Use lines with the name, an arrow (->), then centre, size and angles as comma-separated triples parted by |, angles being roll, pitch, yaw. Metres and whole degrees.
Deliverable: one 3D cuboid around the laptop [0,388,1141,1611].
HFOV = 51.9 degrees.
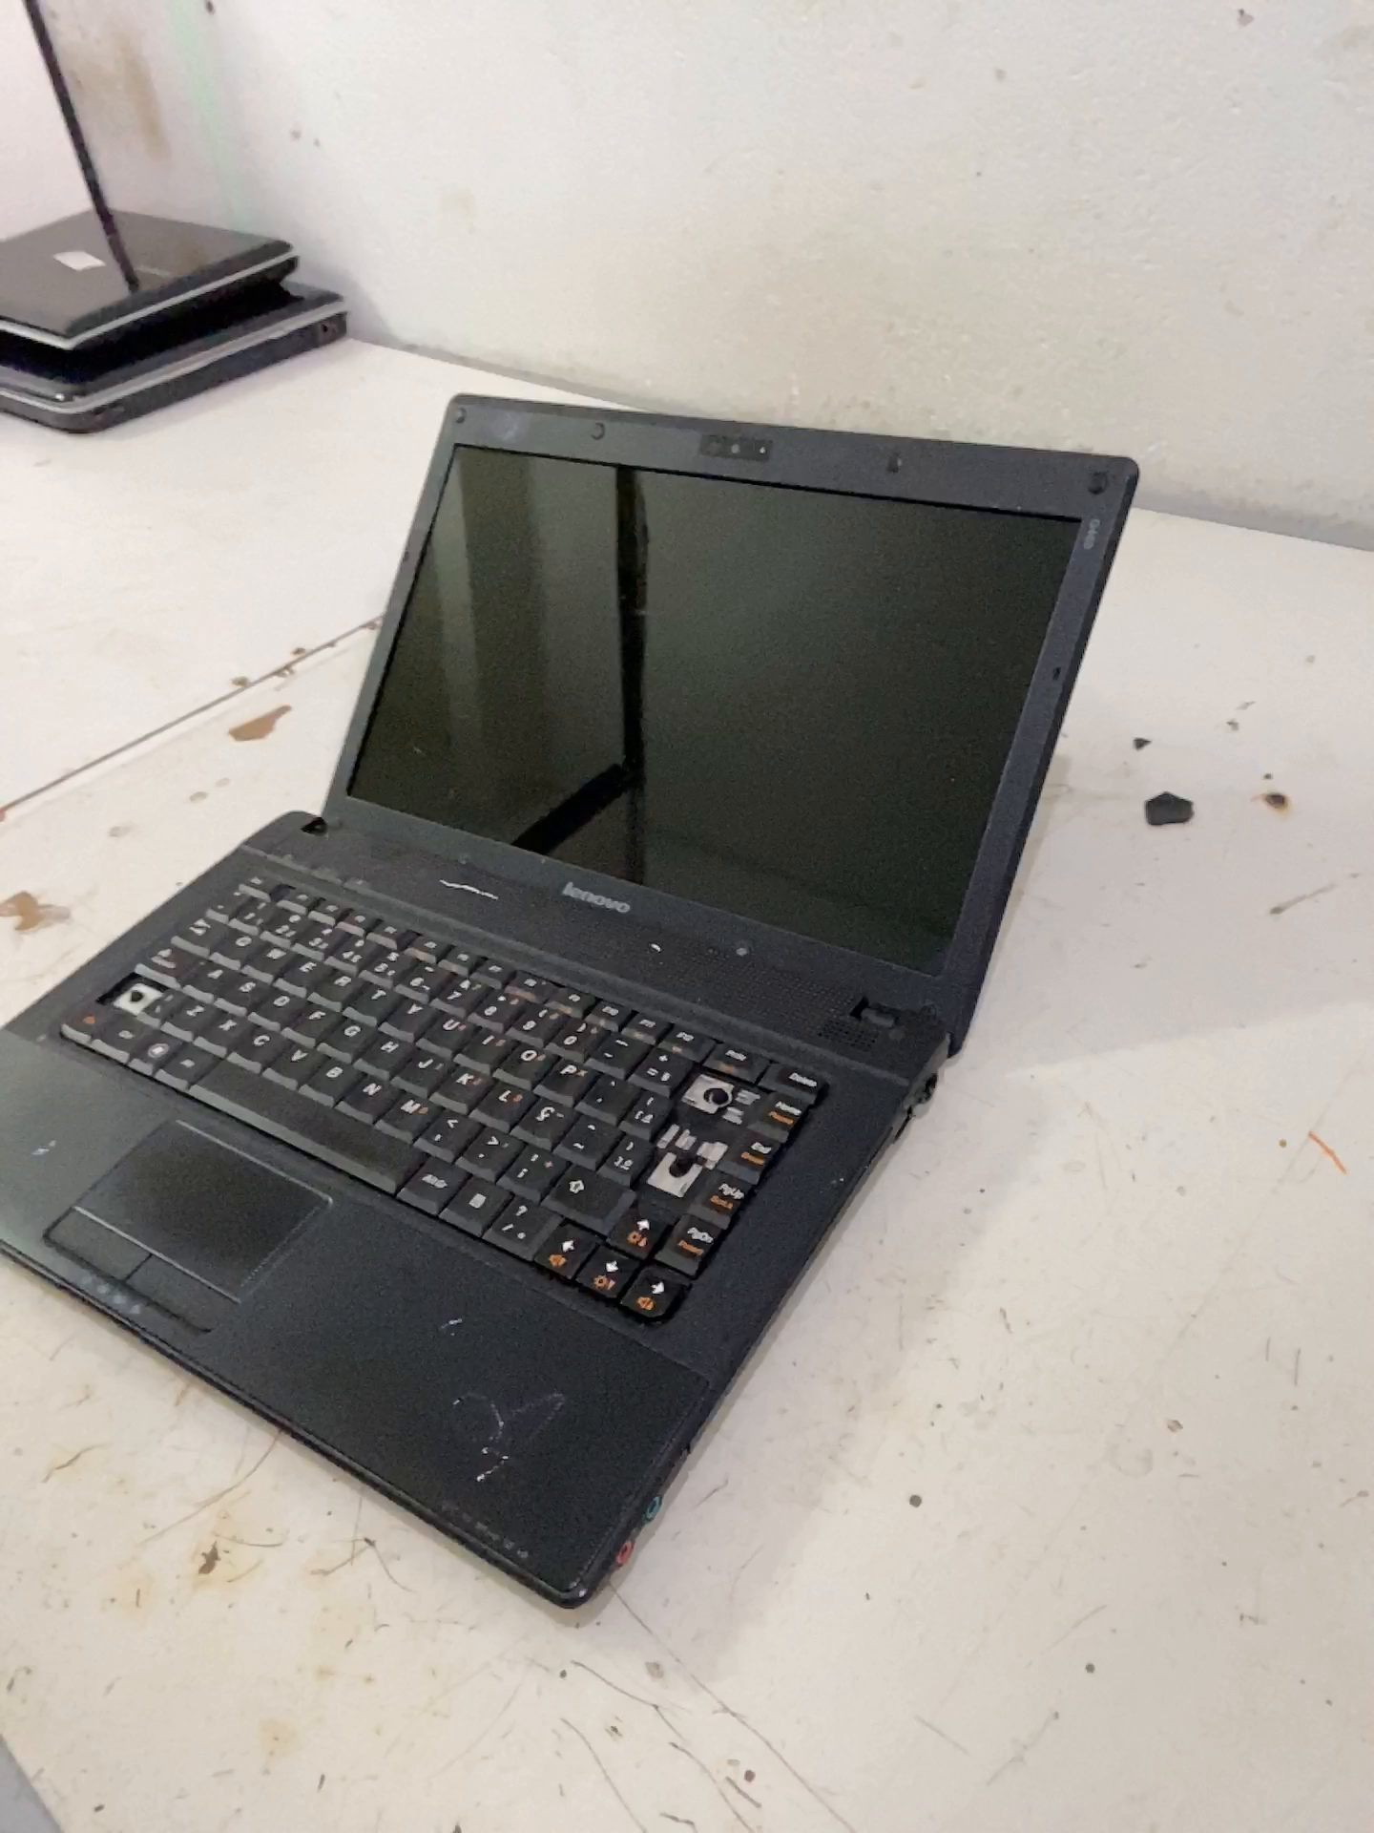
laptop -> -0.077, -0.042, 0.551 | 0.358, 0.147, 0.424 | 17, 46, 30
